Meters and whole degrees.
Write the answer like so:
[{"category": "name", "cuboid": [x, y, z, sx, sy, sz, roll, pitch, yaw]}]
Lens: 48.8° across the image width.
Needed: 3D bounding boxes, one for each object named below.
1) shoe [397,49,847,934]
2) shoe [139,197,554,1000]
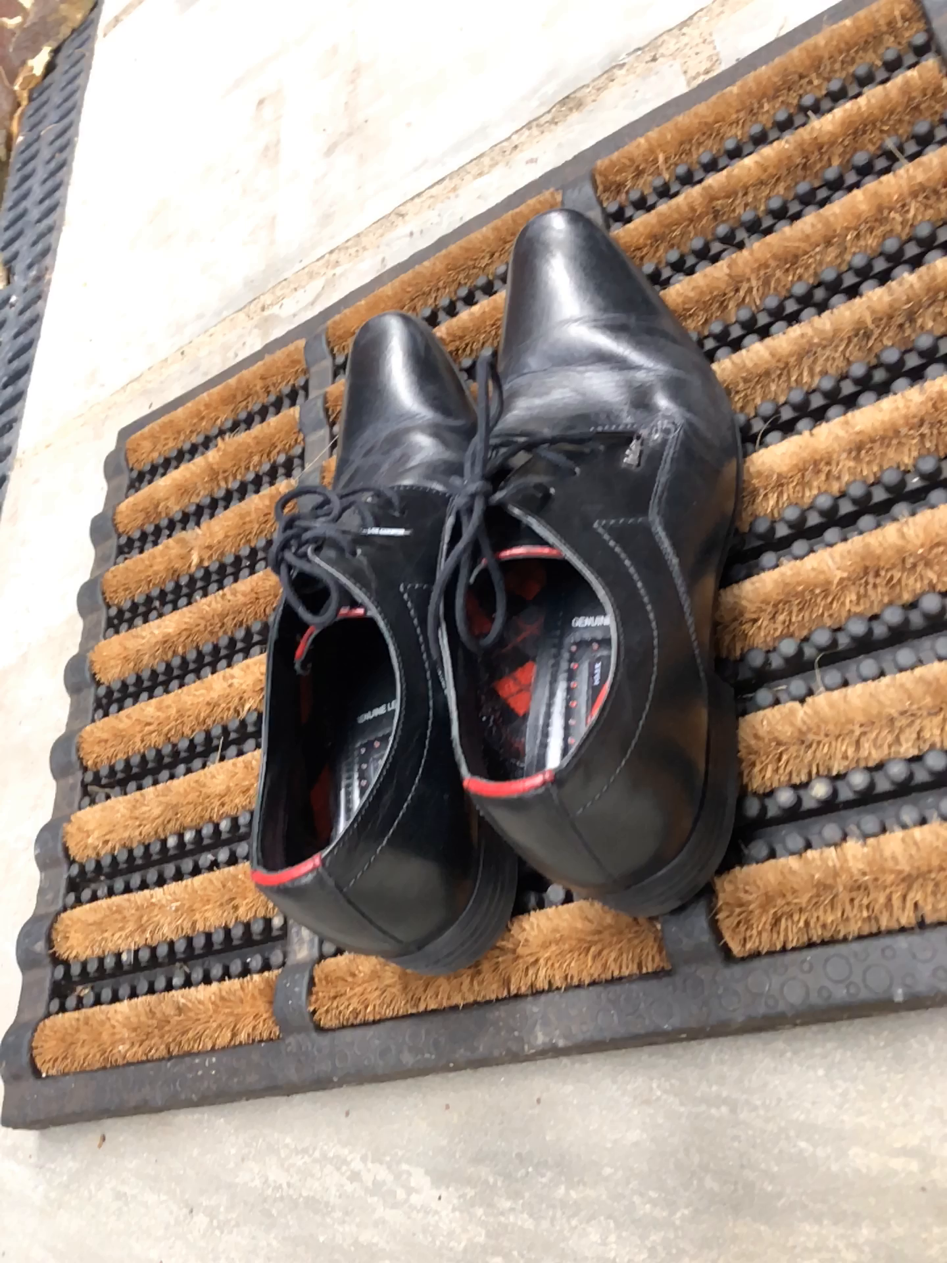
[{"category": "shoe", "cuboid": [0.043, -0.057, 0.385, 0.100, 0.099, 0.301, -19, 57, 28]}, {"category": "shoe", "cuboid": [-0.045, -0.018, 0.429, 0.100, 0.099, 0.301, -19, 57, 28]}]
